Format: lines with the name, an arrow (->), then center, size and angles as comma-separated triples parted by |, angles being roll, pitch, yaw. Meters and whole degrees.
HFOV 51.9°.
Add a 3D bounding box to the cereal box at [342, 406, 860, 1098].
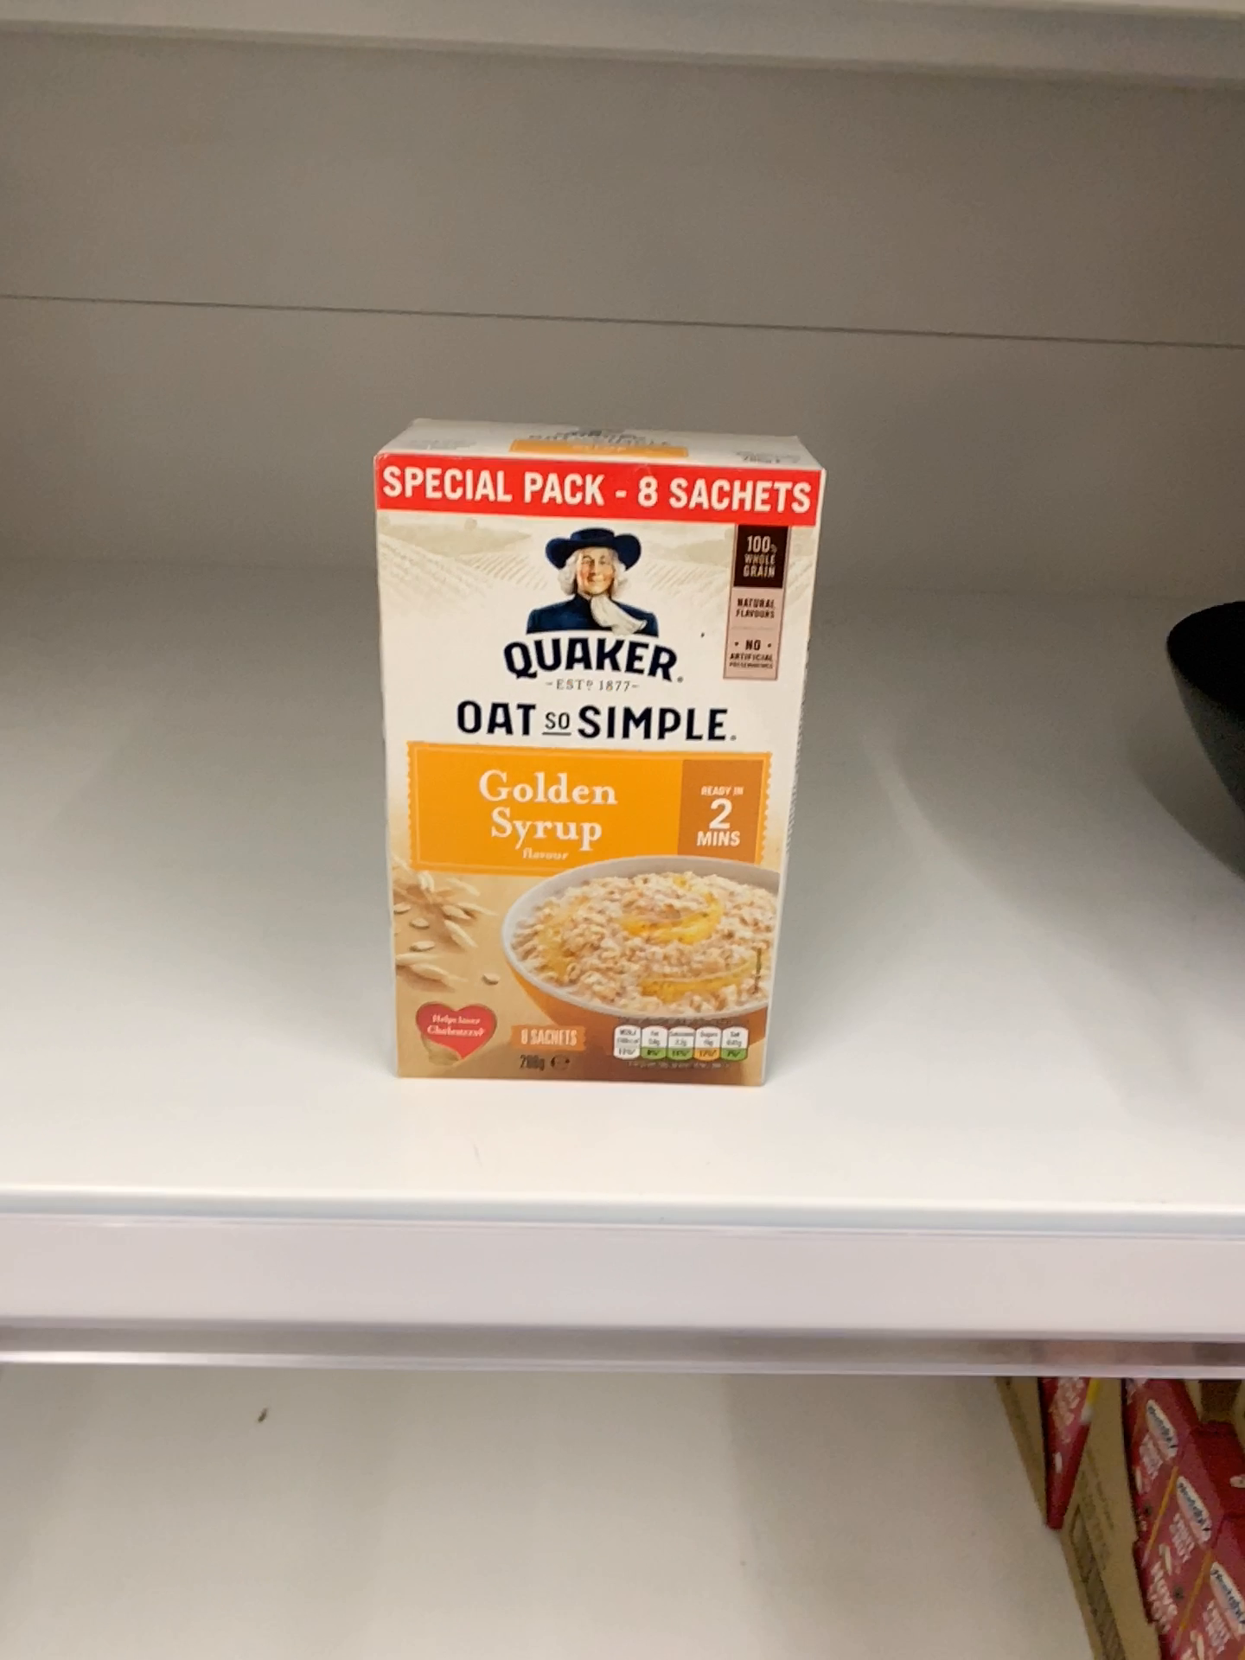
cereal box -> -0.011, -0.023, 0.418 | 0.140, 0.208, 0.071 | 2, 22, -2
